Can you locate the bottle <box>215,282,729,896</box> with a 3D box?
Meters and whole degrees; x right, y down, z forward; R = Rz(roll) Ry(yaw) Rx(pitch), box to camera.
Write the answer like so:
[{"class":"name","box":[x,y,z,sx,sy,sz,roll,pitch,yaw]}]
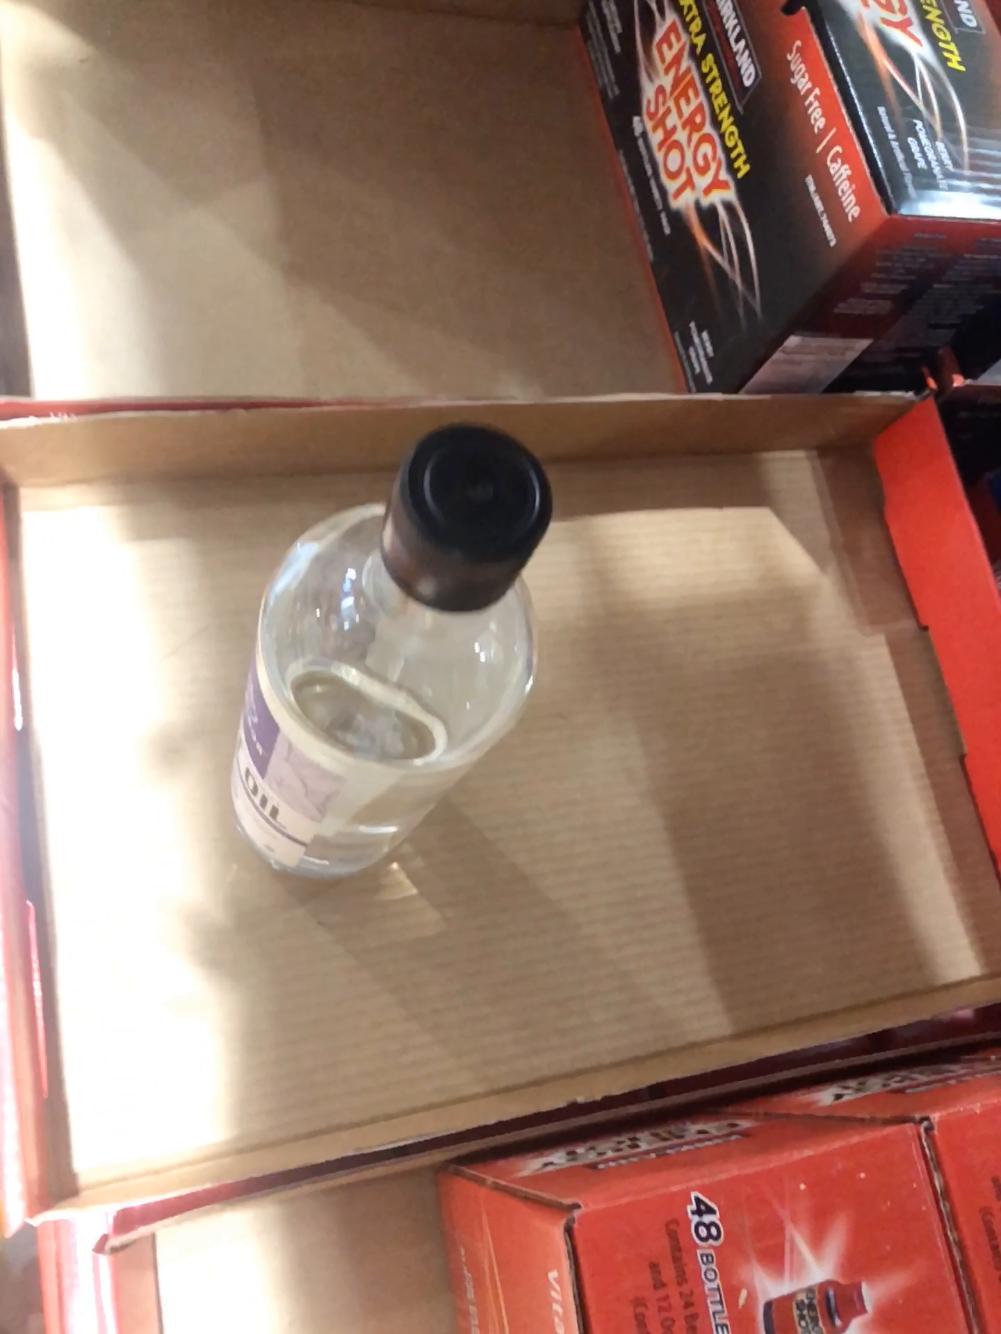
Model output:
[{"class":"bottle","box":[-0.039,0.006,0.351,0.080,0.291,0.077,6,69,-15]}]
